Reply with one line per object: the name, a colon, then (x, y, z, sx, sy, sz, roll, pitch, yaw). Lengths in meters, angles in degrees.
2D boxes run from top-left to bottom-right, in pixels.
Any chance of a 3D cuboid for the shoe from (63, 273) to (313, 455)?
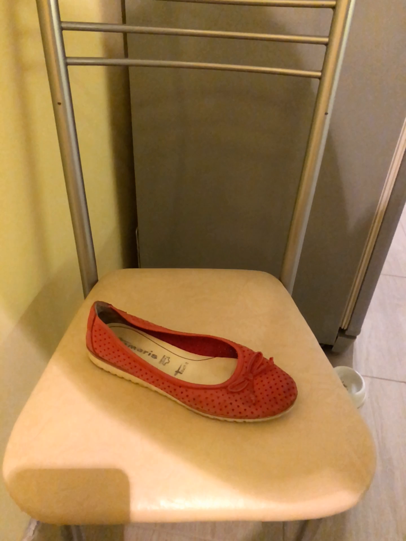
shoe: (-0.017, 0.096, 0.503, 0.250, 0.080, 0.101, 17, 39, 16)
